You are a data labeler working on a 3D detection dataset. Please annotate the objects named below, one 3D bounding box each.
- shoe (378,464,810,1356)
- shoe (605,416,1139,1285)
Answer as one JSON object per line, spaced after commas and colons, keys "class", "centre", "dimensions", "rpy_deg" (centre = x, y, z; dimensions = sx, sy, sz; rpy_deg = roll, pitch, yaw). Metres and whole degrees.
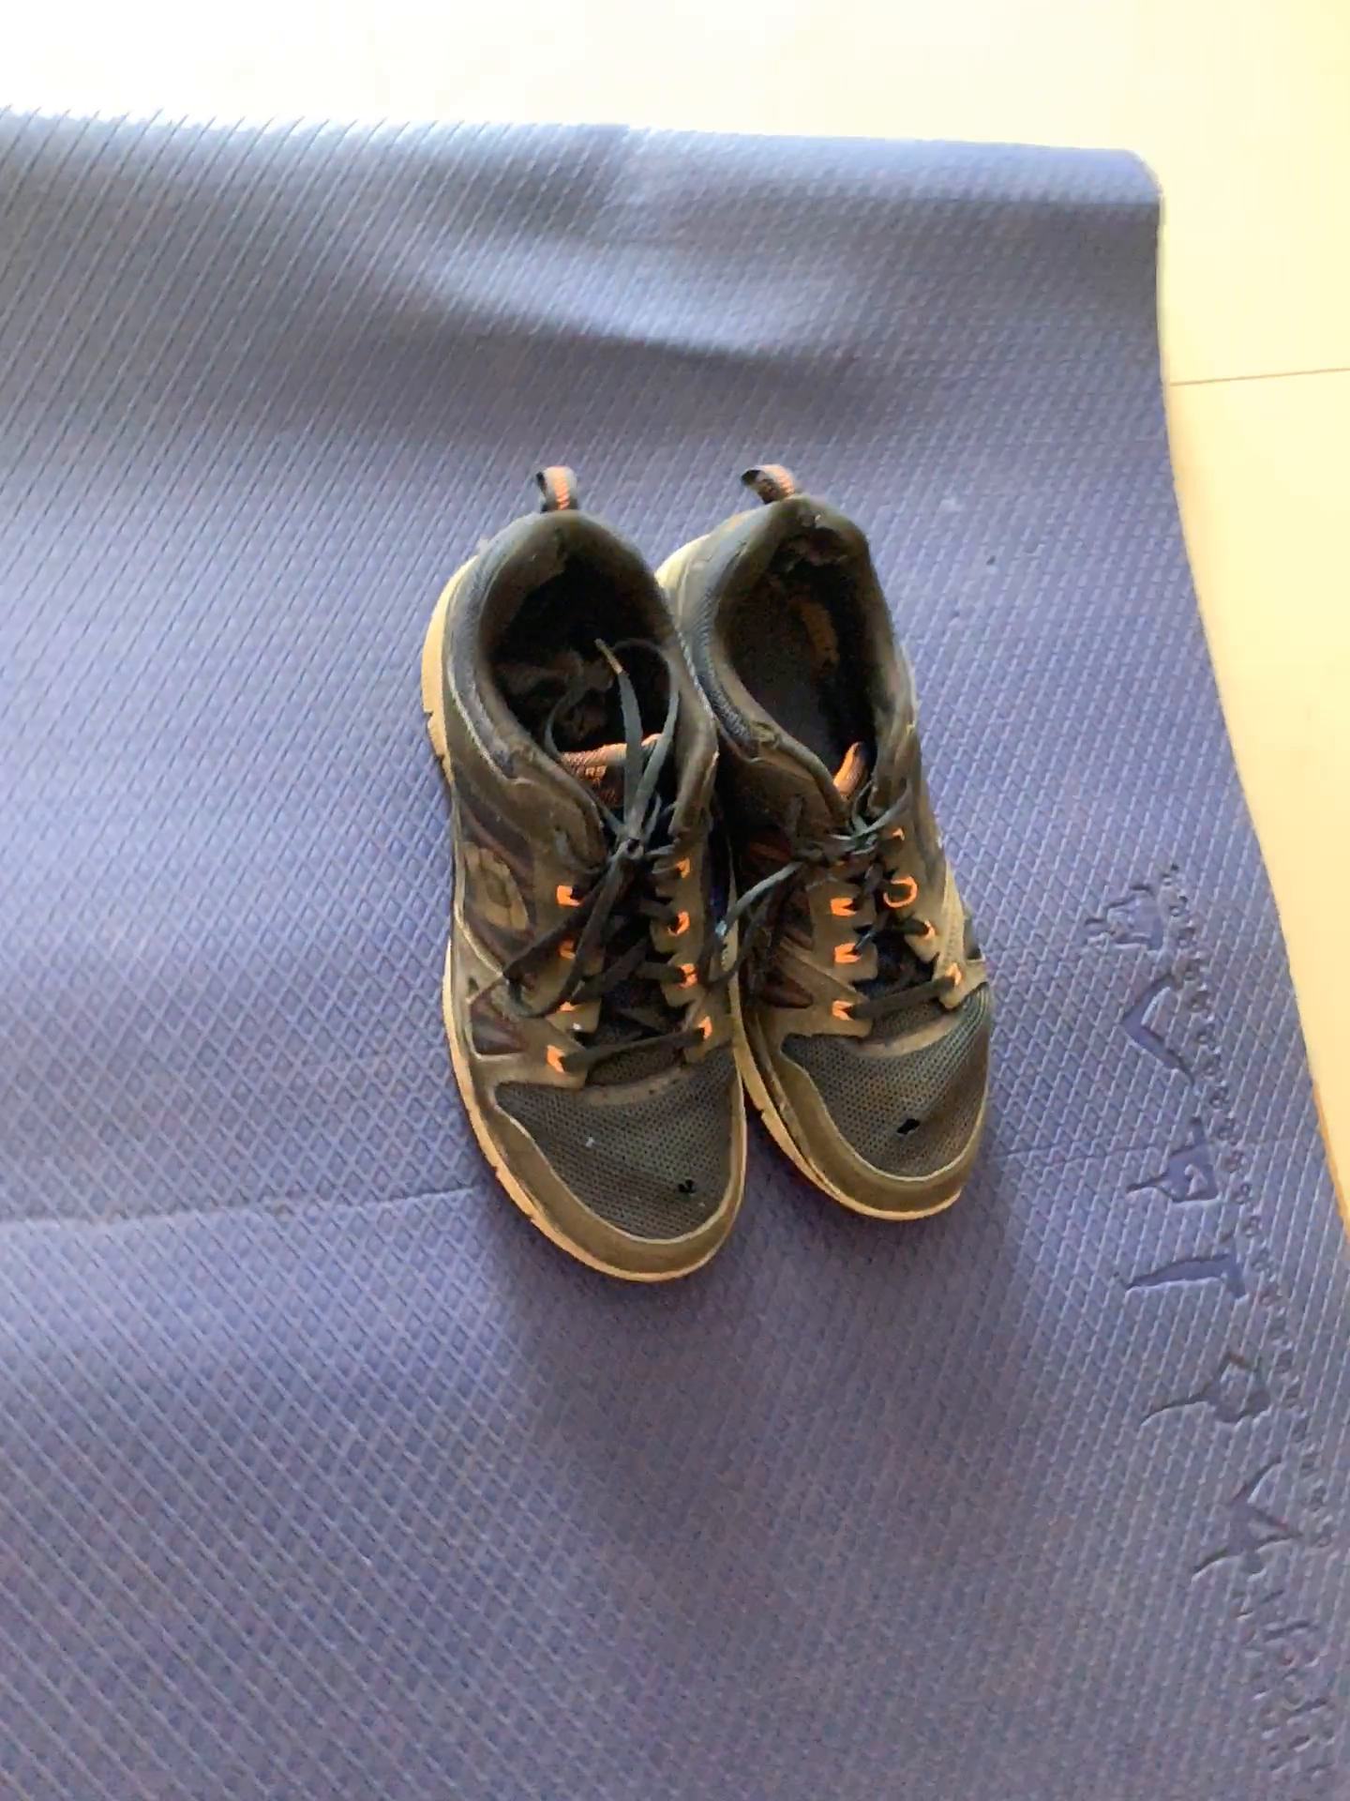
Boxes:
{"class": "shoe", "centre": [-0.040, 0.000, 0.550], "dimensions": [0.100, 0.100, 0.320], "rpy_deg": [-6, 81, -21]}
{"class": "shoe", "centre": [0.069, -0.020, 0.555], "dimensions": [0.110, 0.100, 0.310], "rpy_deg": [-12, 82, -15]}
